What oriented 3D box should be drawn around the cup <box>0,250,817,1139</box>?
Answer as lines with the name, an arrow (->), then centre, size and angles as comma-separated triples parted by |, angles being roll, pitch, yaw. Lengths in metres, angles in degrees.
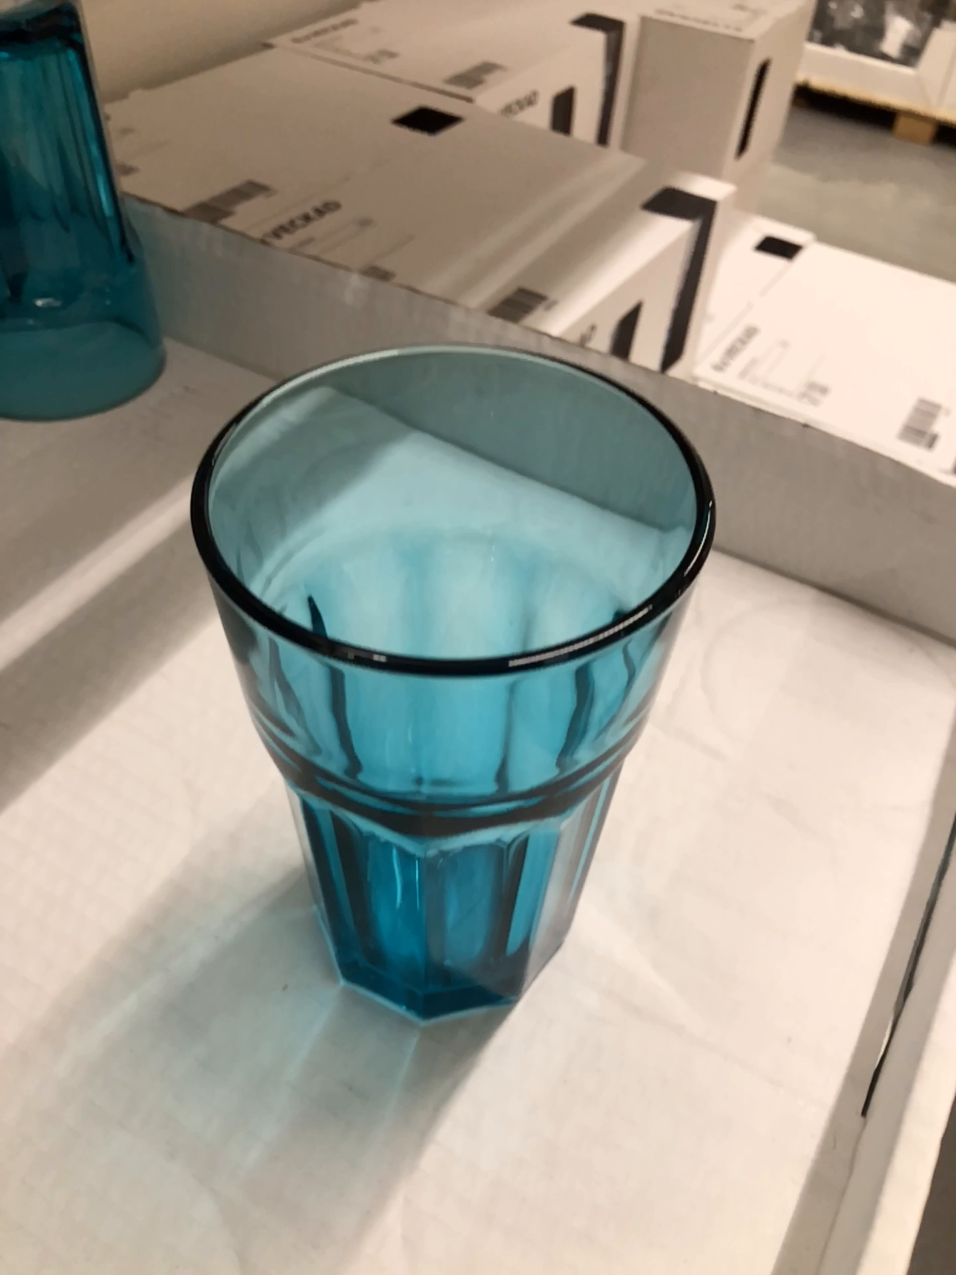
cup -> -0.012, 0.007, 0.196 | 0.092, 0.102, 0.089 | 3, 44, -3
